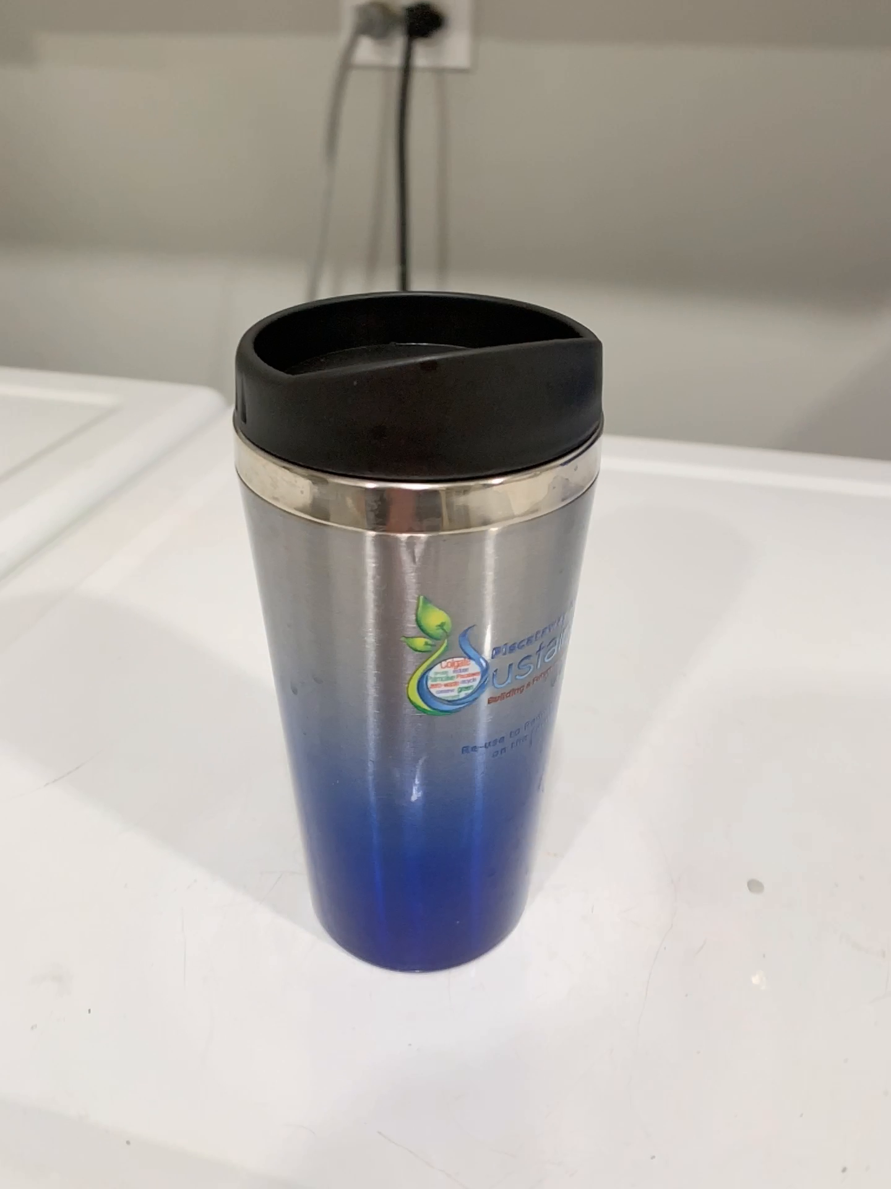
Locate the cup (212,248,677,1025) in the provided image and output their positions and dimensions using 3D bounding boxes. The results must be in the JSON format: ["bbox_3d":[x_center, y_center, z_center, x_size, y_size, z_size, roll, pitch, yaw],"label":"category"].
[{"bbox_3d":[-0.008,0.009,0.242,0.079,0.171,0.090,-7,31,-14],"label":"cup"}]
